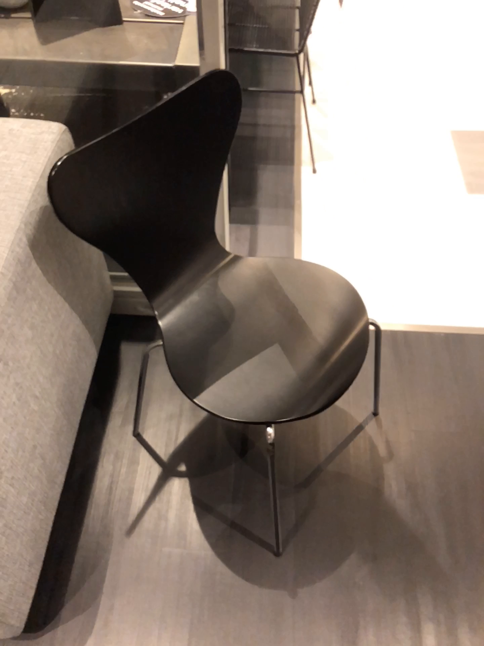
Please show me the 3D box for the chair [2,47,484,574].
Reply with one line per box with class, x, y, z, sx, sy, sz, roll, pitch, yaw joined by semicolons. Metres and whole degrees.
chair;0.027;0.035;1.063;0.501;0.805;0.492;33;60;21
